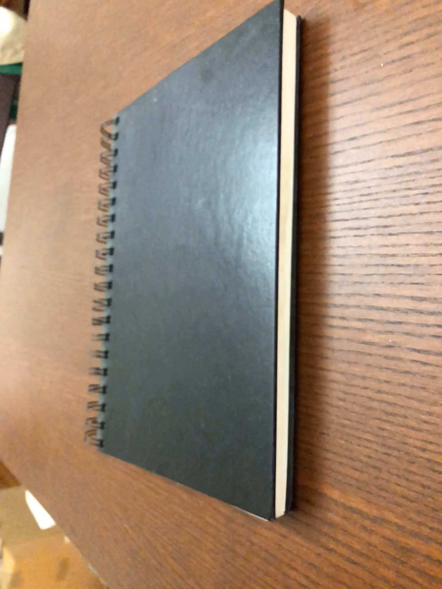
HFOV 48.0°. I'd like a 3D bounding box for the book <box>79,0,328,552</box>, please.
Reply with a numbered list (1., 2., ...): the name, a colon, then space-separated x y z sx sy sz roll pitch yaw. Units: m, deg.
1. book: -0.024 -0.017 0.302 0.201 0.030 0.260 -7 80 51
